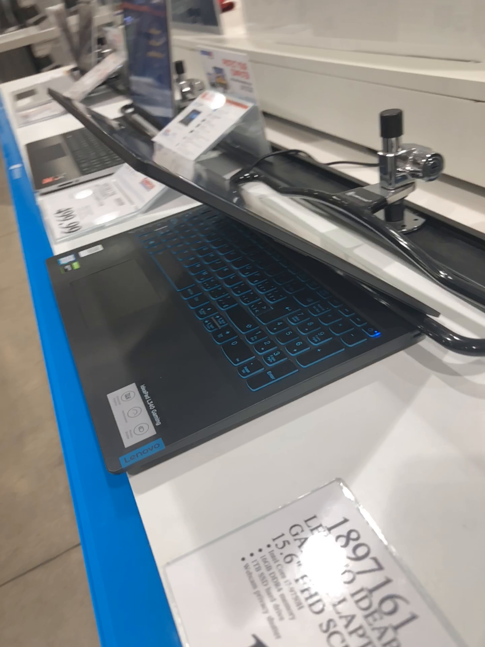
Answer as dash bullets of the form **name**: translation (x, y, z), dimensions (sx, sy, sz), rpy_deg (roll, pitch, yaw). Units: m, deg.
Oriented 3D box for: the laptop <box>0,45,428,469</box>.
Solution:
- **laptop**: translation (-0.062, -0.102, 0.449), dimensions (0.240, 0.170, 0.346), rpy_deg (-23, 35, -13)
